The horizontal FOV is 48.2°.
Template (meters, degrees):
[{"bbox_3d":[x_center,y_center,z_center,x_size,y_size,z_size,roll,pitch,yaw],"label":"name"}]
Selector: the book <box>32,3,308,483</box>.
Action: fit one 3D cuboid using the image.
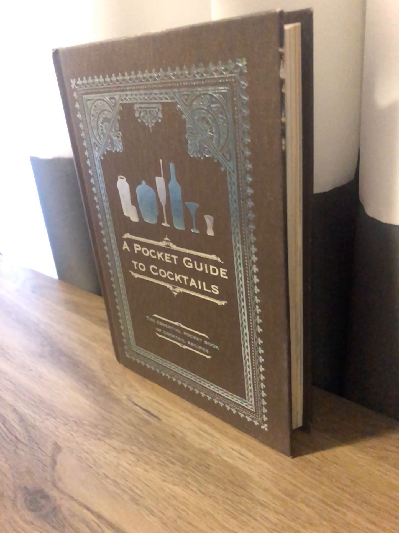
[{"bbox_3d":[-0.013,-0.006,0.223,0.137,0.200,0.022,15,32,40],"label":"book"}]
